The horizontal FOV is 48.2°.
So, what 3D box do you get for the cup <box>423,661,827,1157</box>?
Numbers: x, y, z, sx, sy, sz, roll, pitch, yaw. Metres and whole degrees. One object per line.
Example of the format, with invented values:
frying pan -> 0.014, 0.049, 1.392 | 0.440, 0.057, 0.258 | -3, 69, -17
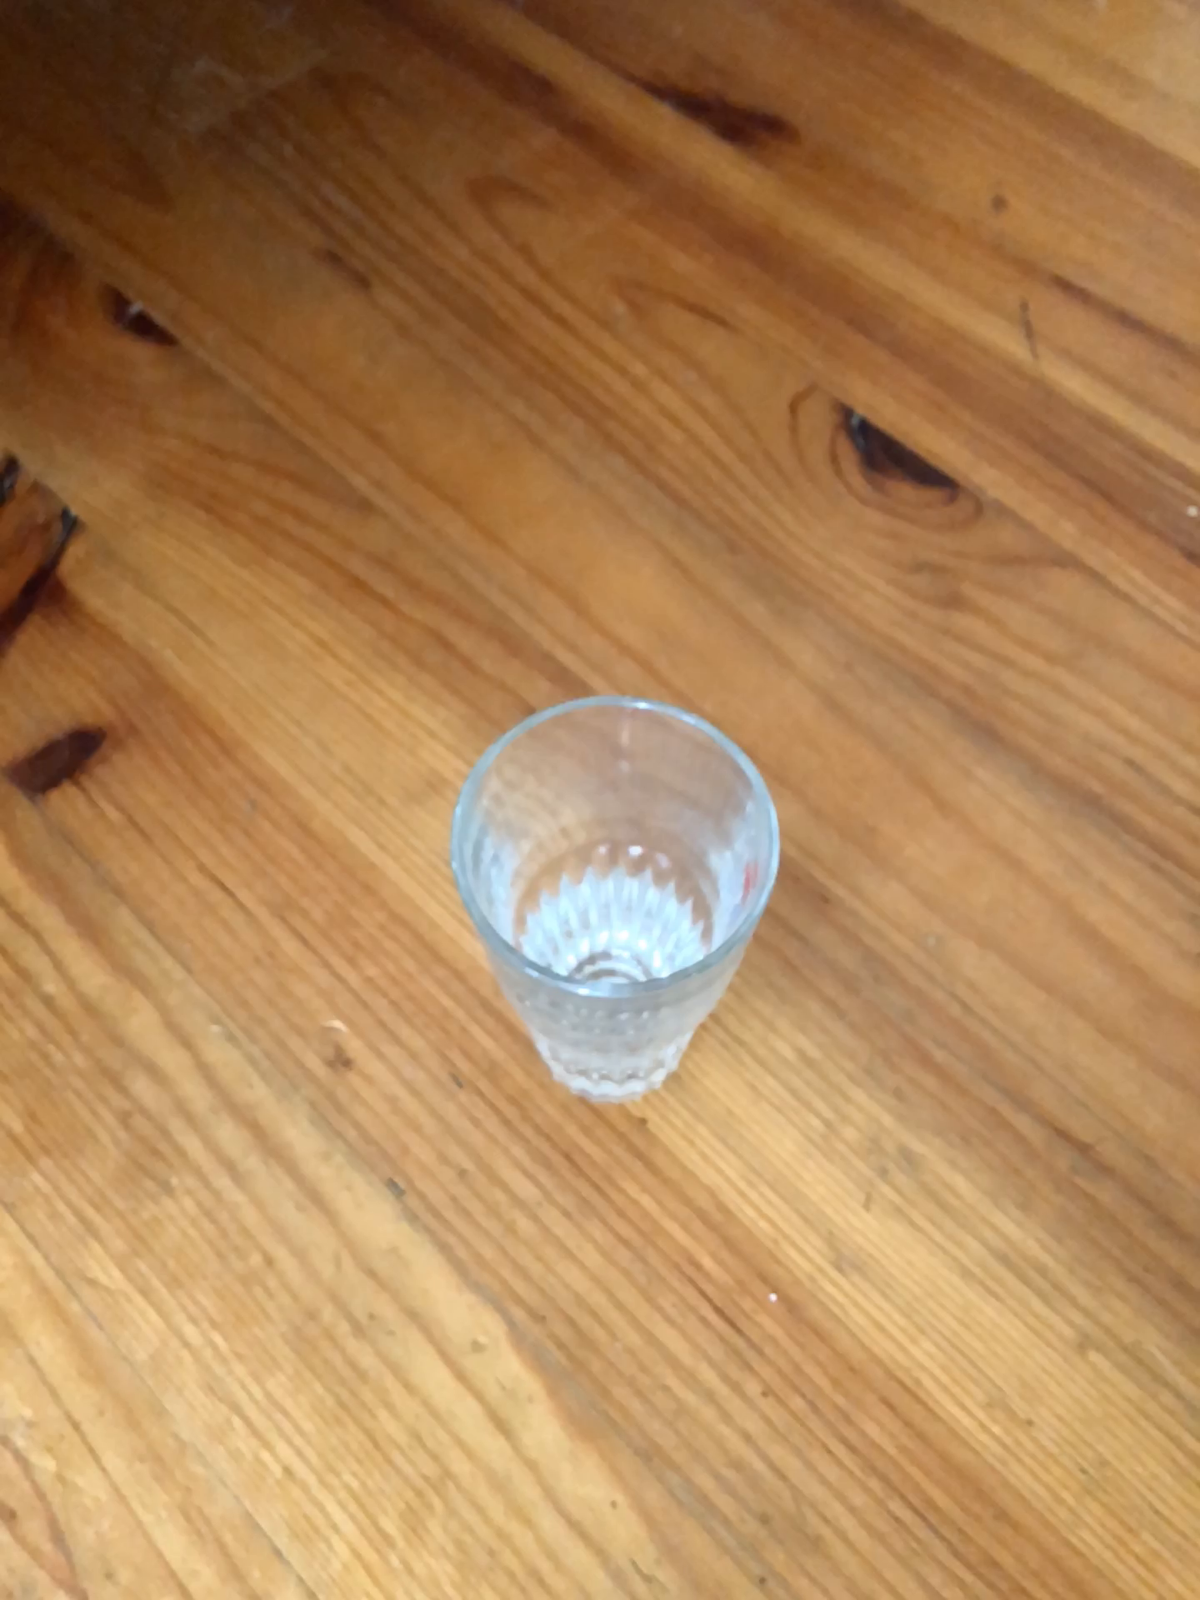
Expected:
cup -> 0.007, 0.031, 0.300 | 0.068, 0.117, 0.064 | 0, 63, 0
